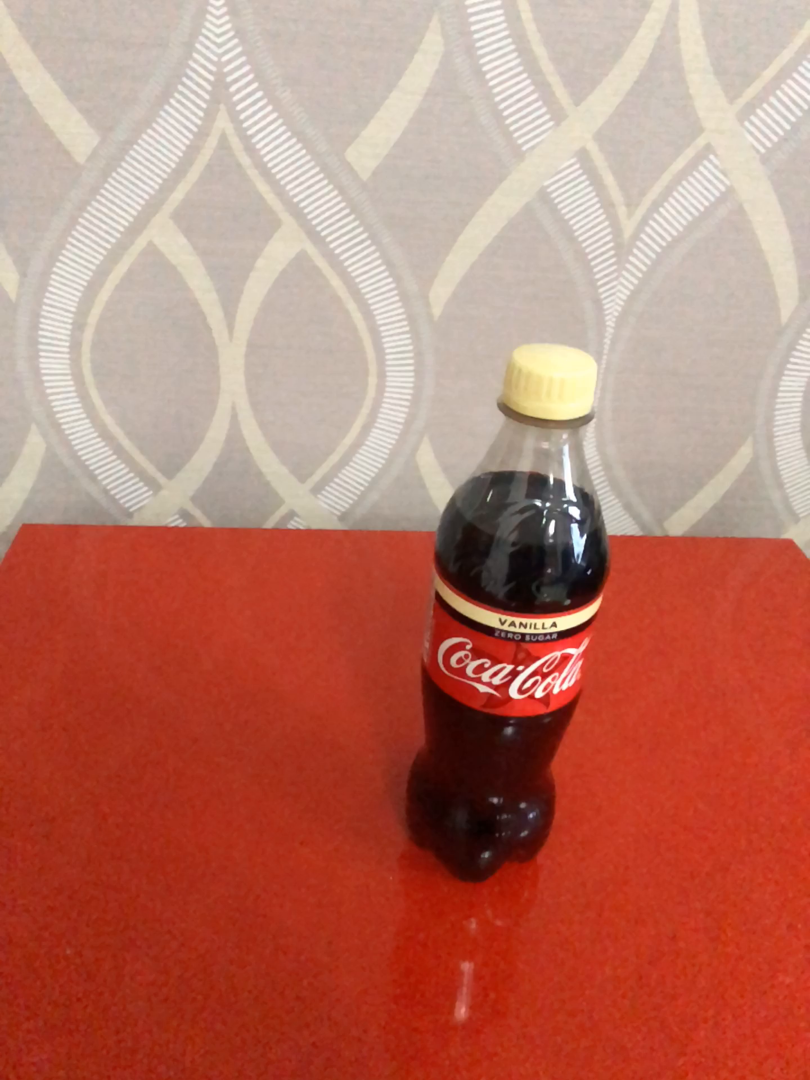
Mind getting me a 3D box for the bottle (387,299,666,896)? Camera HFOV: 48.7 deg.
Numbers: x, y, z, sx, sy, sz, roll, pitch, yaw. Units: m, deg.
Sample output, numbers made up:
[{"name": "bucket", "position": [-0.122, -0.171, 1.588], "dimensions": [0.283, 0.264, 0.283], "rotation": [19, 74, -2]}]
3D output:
[{"name": "bottle", "position": [0.035, 0.033, 0.367], "dimensions": [0.070, 0.238, 0.081], "rotation": [2, 31, -4]}]
